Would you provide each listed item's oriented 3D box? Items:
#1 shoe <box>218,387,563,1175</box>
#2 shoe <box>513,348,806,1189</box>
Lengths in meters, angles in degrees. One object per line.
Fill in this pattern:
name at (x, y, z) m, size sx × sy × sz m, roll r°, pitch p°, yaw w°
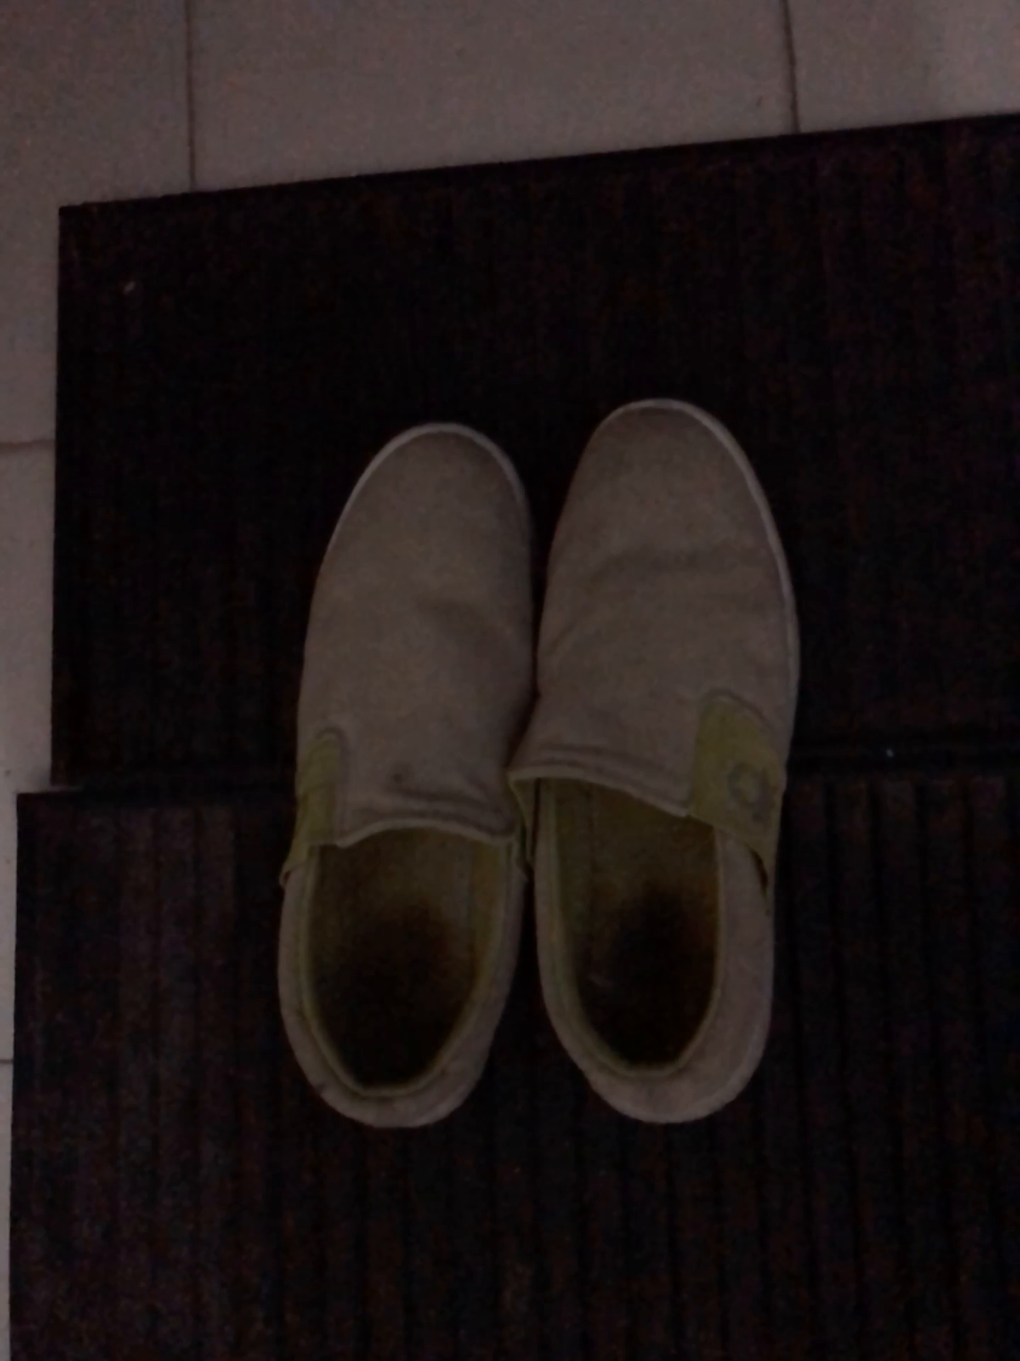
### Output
shoe at (-0.042, 0.038, 0.483) m, size 0.120 × 0.090 × 0.300 m, roll 0°, pitch 82°, yaw 7°
shoe at (0.064, 0.032, 0.495) m, size 0.110 × 0.090 × 0.330 m, roll 0°, pitch 82°, yaw 7°
